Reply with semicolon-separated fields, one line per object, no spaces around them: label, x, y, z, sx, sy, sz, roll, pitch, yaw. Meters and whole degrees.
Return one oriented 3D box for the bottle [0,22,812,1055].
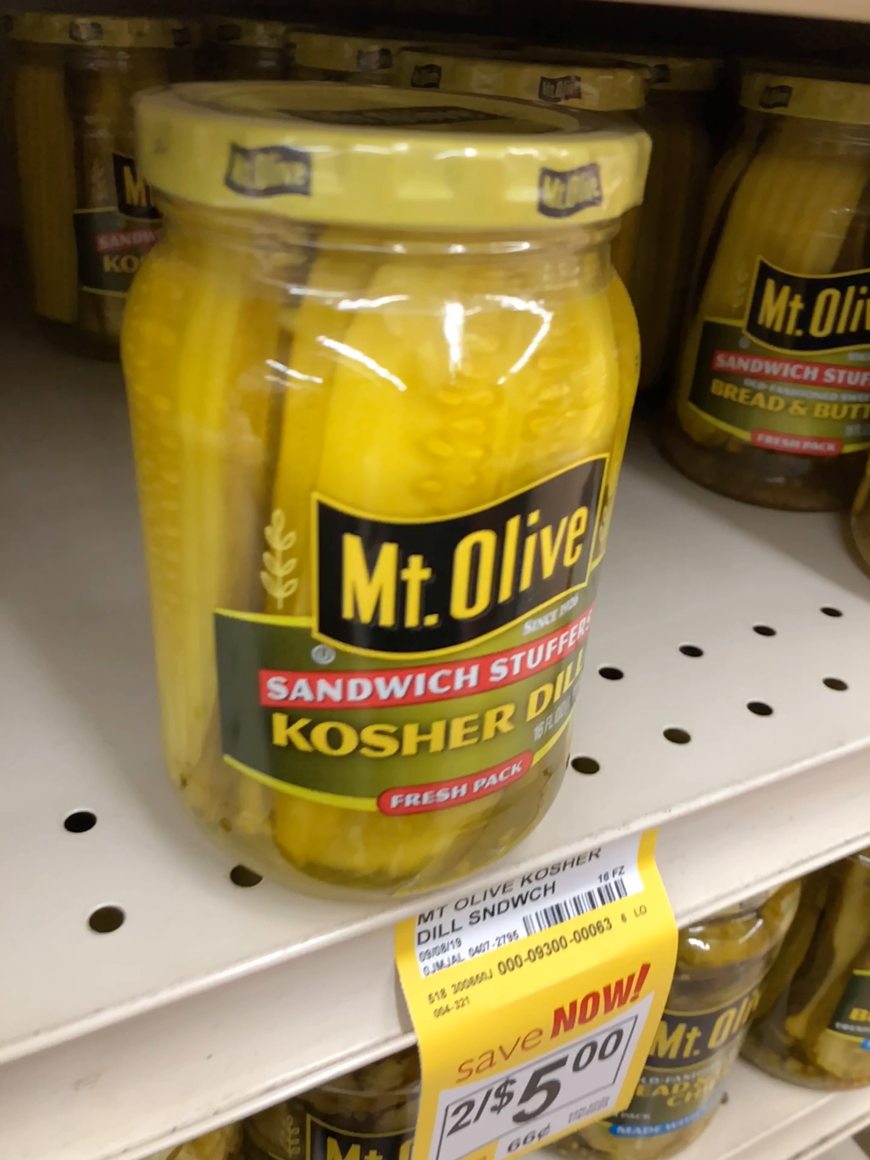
bottle;-0.019;-0.011;0.161;0.090;0.130;0.080;-9;35;-23
